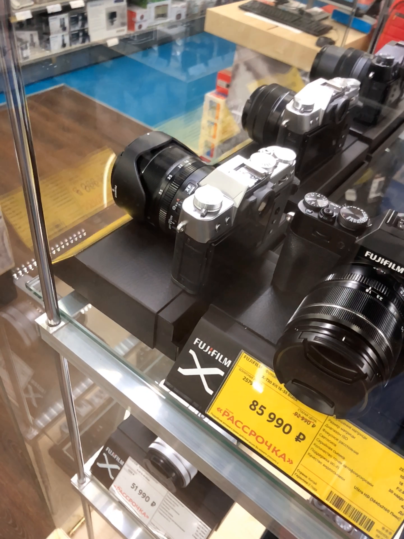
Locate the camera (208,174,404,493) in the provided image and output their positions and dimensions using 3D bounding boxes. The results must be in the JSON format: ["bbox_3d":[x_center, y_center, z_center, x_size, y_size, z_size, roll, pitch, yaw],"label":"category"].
[{"bbox_3d":[0.103,0.030,0.290,0.144,0.088,0.123,32,49,21],"label":"camera"}]

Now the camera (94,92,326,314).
[{"bbox_3d":[0.004,-0.060,0.354,0.121,0.088,0.121,33,49,22],"label":"camera"}]

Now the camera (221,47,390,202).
[{"bbox_3d":[0.108,-0.158,0.473,0.104,0.088,0.135,33,49,22],"label":"camera"}]
